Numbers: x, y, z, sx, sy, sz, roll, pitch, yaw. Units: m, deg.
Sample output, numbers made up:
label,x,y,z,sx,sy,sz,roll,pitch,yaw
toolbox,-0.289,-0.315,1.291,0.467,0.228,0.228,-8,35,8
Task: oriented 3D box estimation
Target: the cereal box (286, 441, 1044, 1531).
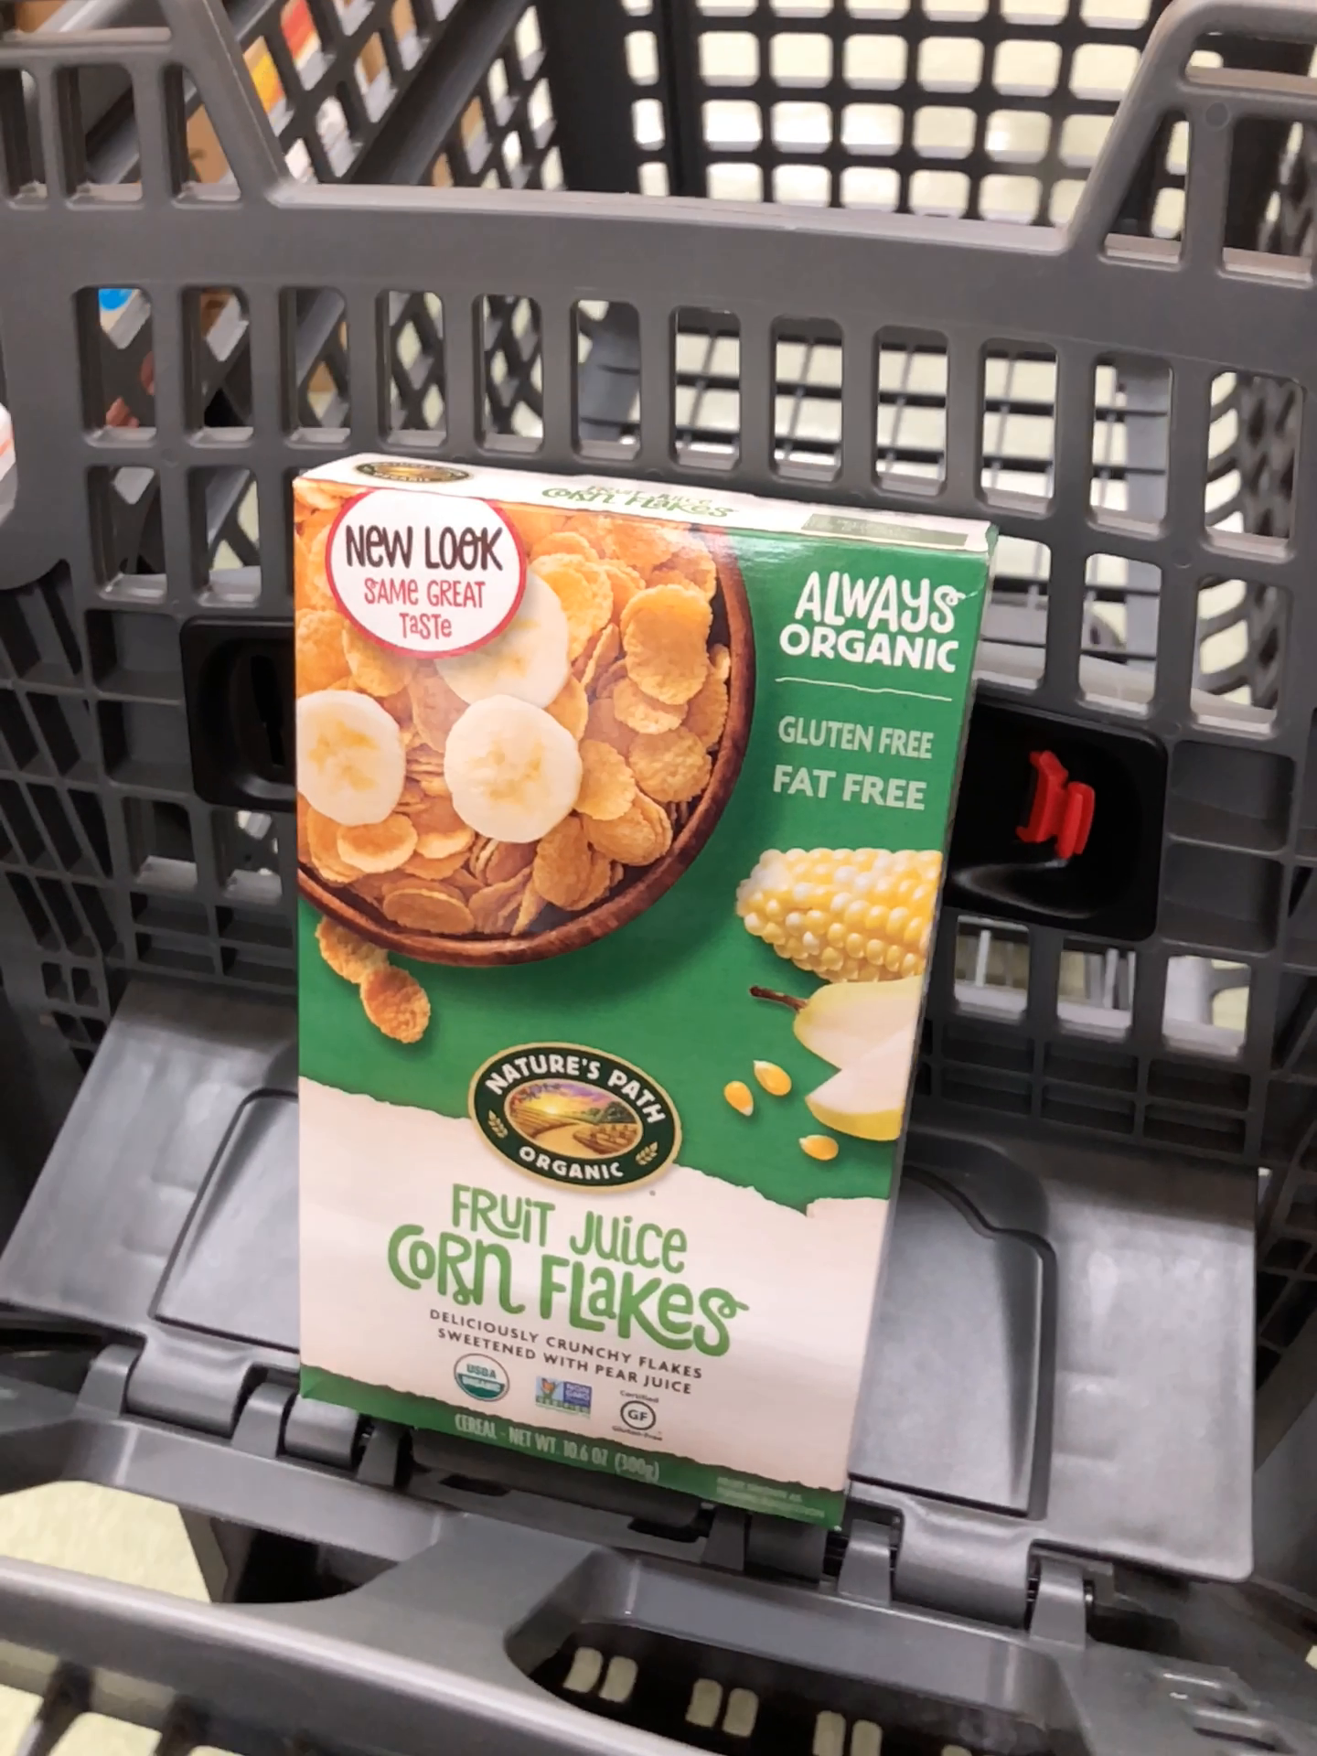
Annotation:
label,x,y,z,sx,sy,sz,roll,pitch,yaw
cereal box,-0.004,0.023,0.352,0.150,0.230,0.070,9,20,11
